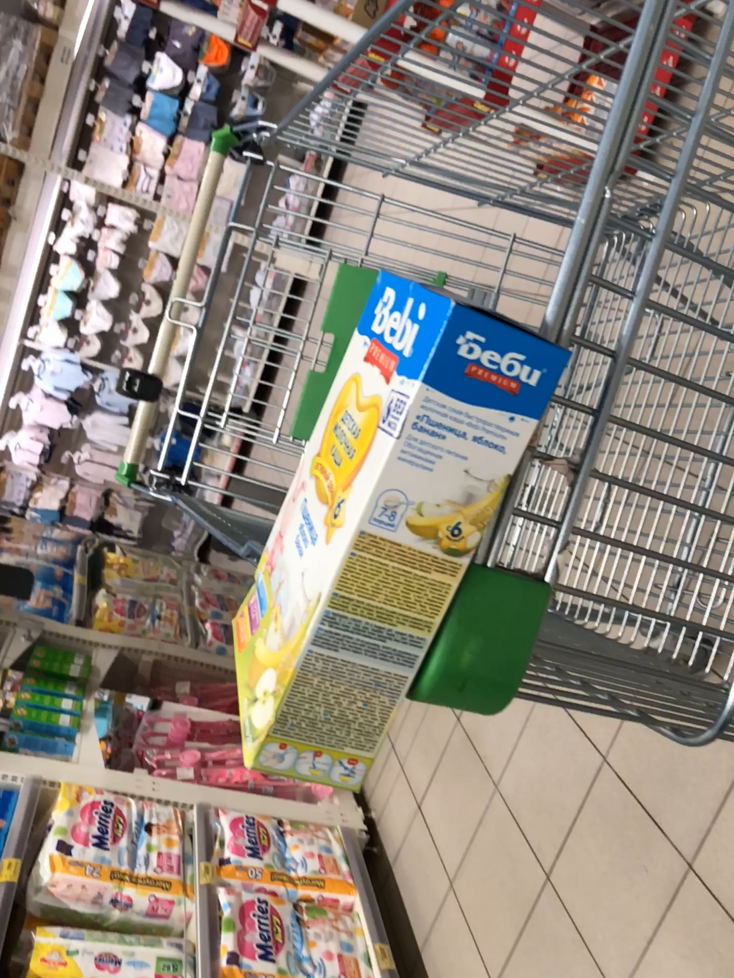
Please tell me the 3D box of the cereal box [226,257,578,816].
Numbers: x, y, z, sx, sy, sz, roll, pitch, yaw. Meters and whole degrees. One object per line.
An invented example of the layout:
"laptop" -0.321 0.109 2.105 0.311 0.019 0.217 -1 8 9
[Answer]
"cereal box" -0.002 0.012 0.359 0.130 0.050 0.210 -117 48 -68
